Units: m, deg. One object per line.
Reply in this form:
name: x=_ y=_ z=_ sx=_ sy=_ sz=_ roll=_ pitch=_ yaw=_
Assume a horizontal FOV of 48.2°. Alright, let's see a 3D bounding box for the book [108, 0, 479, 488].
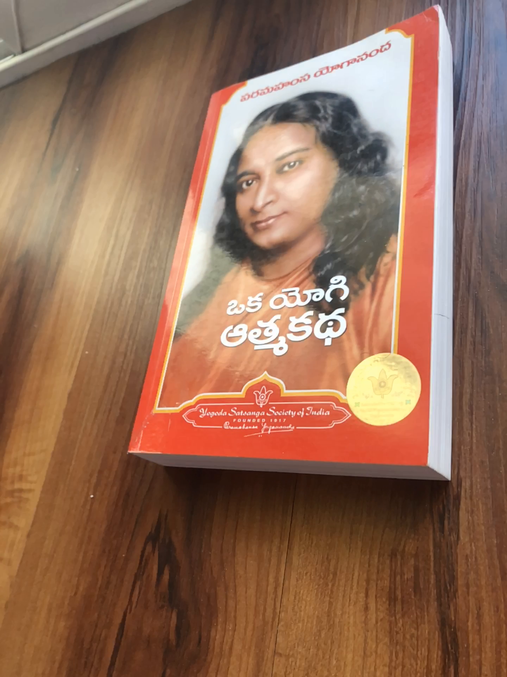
book: x=0.022 y=-0.048 z=0.262 sx=0.148 sy=0.030 sz=0.214 roll=-5 pitch=64 yaw=32
